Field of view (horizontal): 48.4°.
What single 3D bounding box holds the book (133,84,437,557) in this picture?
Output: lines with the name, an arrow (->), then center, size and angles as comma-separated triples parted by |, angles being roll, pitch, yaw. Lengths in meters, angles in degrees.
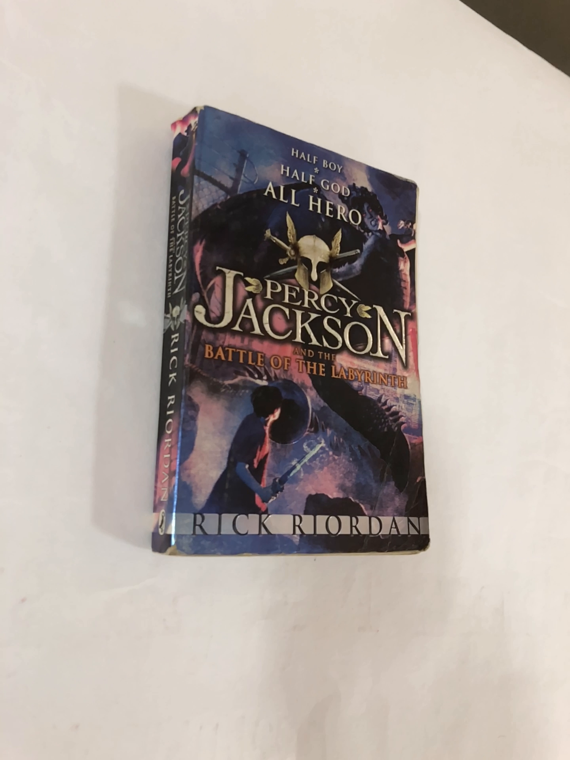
book -> 0.005, -0.019, 0.294 | 0.130, 0.040, 0.190 | 8, 76, -31
